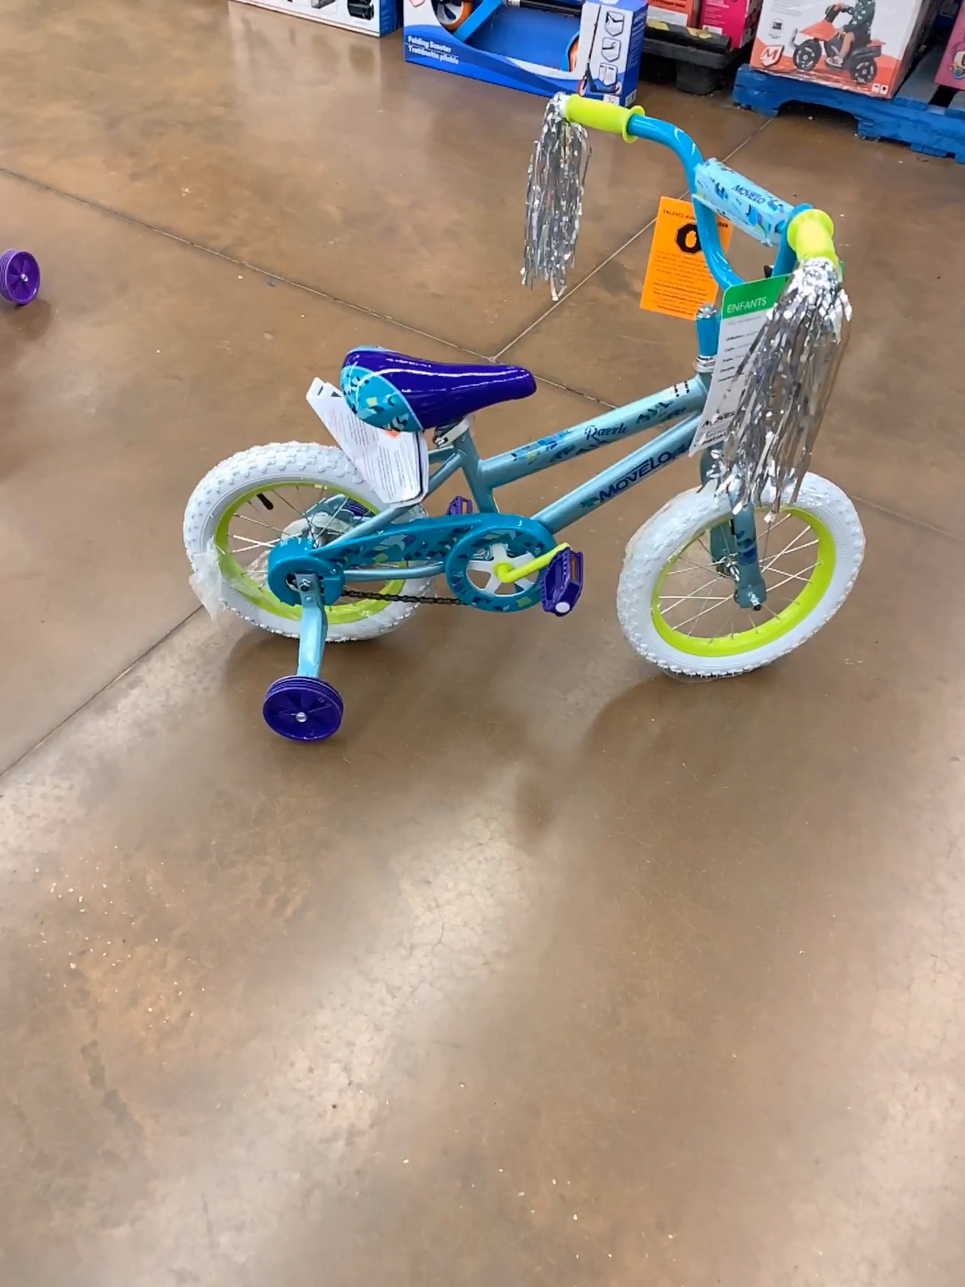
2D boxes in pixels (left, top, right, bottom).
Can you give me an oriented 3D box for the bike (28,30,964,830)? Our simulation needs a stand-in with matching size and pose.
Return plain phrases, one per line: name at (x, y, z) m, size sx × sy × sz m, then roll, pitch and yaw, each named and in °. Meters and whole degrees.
bike at (0.075, -0.230, 1.145) m, size 0.859 × 0.639 × 0.626 m, roll -1°, pitch 47°, yaw -6°
